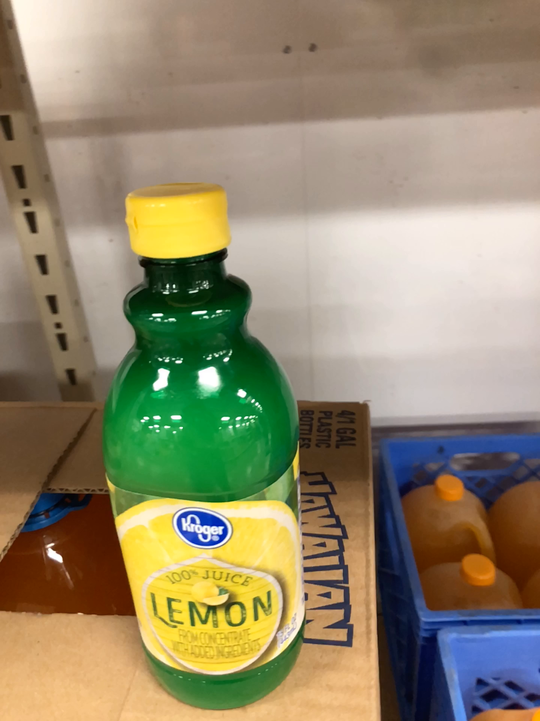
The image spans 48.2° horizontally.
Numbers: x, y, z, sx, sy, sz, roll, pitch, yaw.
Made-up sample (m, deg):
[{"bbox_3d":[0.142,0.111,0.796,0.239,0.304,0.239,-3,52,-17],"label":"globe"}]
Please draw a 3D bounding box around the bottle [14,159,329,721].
[{"bbox_3d":[-0.022,0.032,0.213,0.070,0.184,0.070,-4,25,2],"label":"bottle"}]
